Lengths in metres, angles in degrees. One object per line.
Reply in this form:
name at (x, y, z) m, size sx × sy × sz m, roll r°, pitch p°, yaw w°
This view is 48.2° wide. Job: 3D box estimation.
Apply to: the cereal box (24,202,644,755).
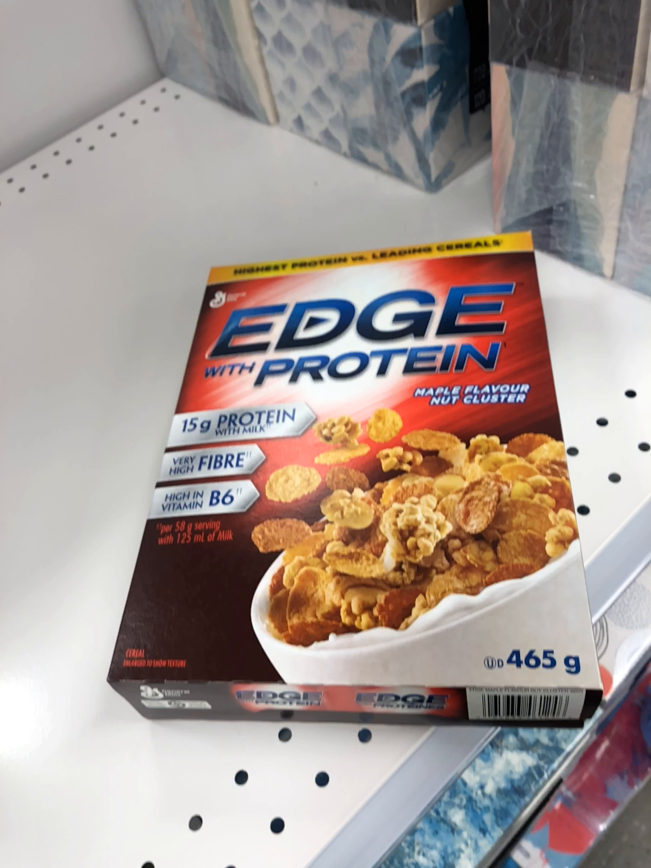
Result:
cereal box at (0.008, 0.003, 0.354) m, size 0.220 × 0.050 × 0.271 m, roll -3°, pitch 52°, yaw 11°
